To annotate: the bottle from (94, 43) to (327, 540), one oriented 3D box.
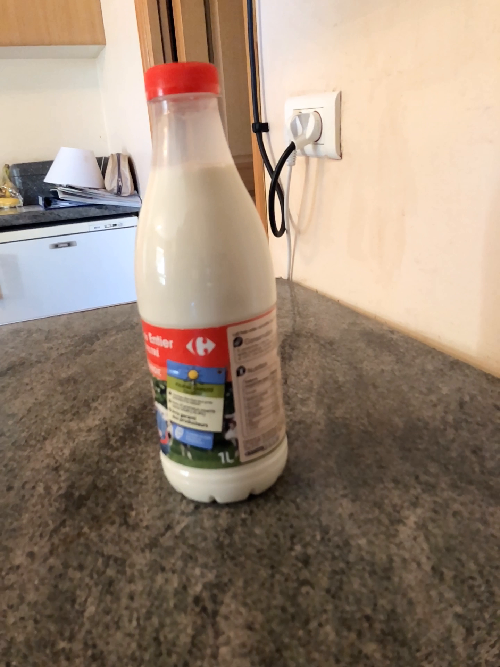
[{"bbox_3d":[-0.018,-0.023,0.322,0.080,0.249,0.090,-16,22,-33],"label":"bottle"}]
